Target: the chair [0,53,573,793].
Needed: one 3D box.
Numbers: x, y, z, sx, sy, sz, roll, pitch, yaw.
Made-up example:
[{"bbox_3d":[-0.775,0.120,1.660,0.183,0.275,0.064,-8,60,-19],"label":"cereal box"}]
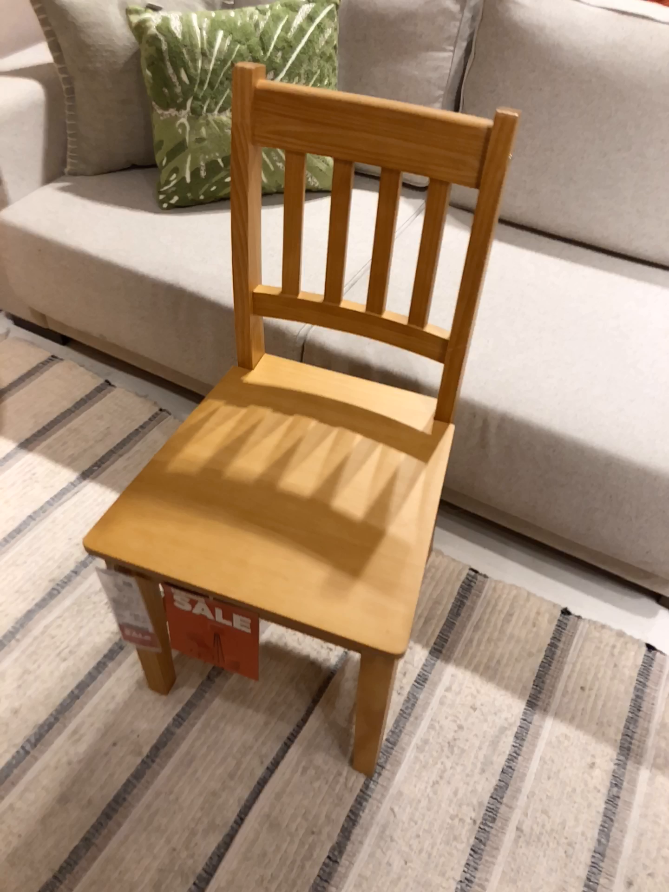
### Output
[{"bbox_3d":[-0.035,0.004,1.030,0.460,0.815,0.523,15,48,12],"label":"chair"}]
